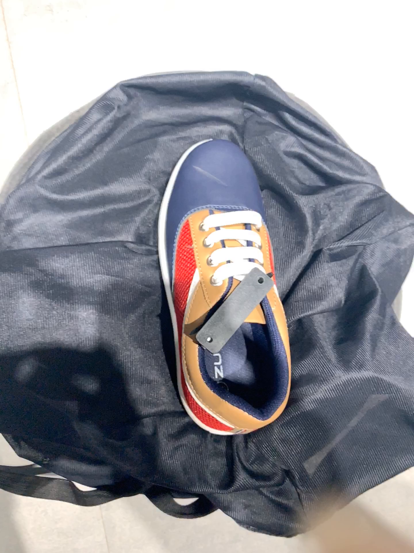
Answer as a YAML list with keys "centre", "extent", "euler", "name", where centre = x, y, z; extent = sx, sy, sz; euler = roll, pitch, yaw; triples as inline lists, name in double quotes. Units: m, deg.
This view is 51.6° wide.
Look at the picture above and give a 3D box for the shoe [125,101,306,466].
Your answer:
- centre: [0.000, 0.002, 0.261]
  extent: [0.080, 0.070, 0.190]
  euler: [-4, 80, -4]
  name: "shoe"
